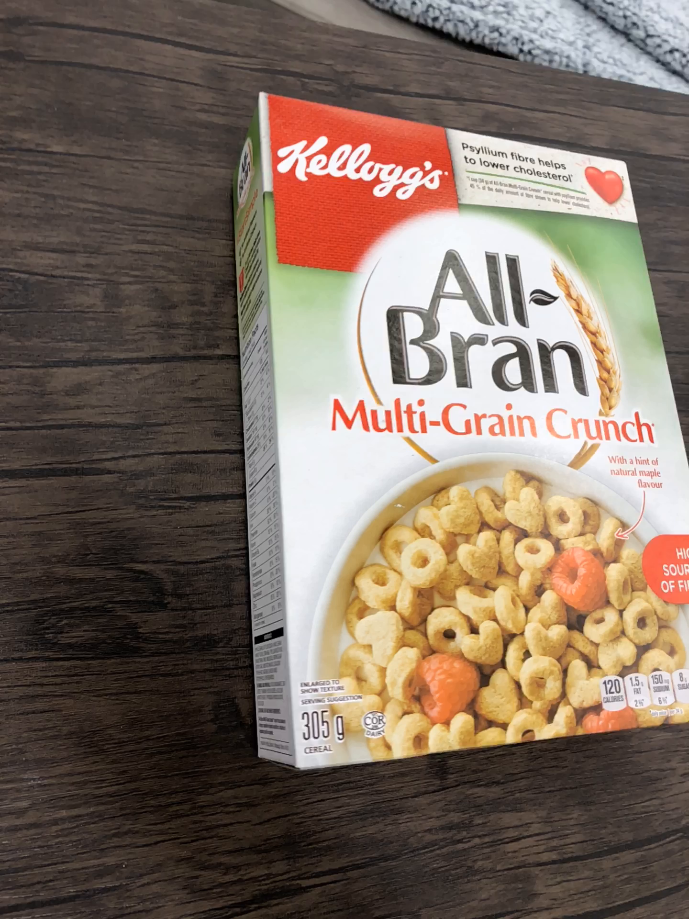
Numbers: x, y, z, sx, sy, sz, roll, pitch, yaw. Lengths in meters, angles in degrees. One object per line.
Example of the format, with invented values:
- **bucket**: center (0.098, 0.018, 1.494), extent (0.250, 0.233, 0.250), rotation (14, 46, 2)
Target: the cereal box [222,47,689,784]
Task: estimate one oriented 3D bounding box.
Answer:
- **cereal box**: center (0.059, -0.025, 0.356), extent (0.210, 0.070, 0.300), rotation (2, 71, -20)
